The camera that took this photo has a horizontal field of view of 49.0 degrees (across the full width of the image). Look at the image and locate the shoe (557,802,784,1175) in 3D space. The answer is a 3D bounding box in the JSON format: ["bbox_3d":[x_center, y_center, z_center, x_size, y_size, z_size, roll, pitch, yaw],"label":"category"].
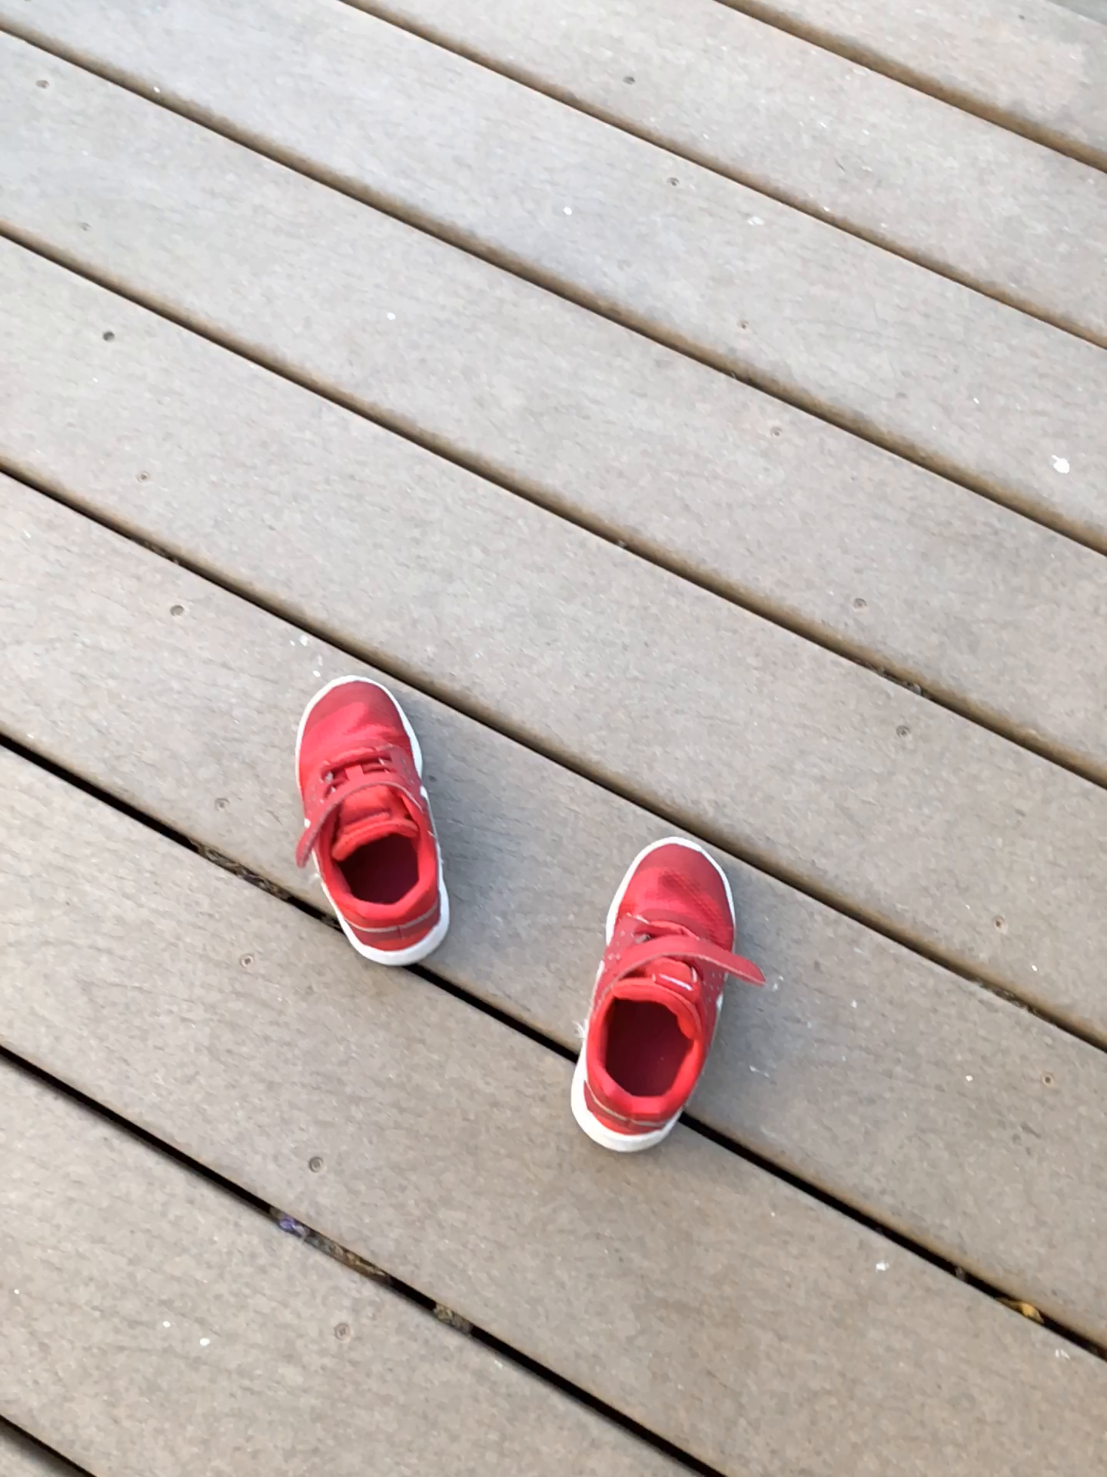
[{"bbox_3d":[0.059,0.127,0.618,0.069,0.069,0.164,16,71,2],"label":"shoe"}]

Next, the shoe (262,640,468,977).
[{"bbox_3d":[-0.098,0.038,0.643,0.073,0.069,0.153,-13,72,-8],"label":"shoe"}]
